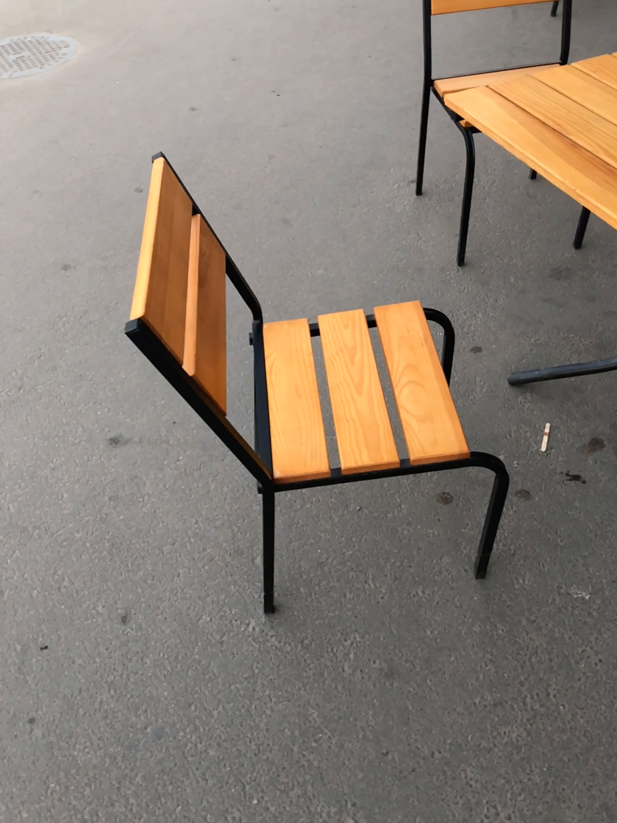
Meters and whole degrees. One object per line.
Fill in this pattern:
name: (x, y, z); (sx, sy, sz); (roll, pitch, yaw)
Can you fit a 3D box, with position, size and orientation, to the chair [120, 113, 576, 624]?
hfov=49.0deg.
chair: (0.056, -0.041, 1.277); (0.560, 0.767, 0.502); (-7, 47, 0)
